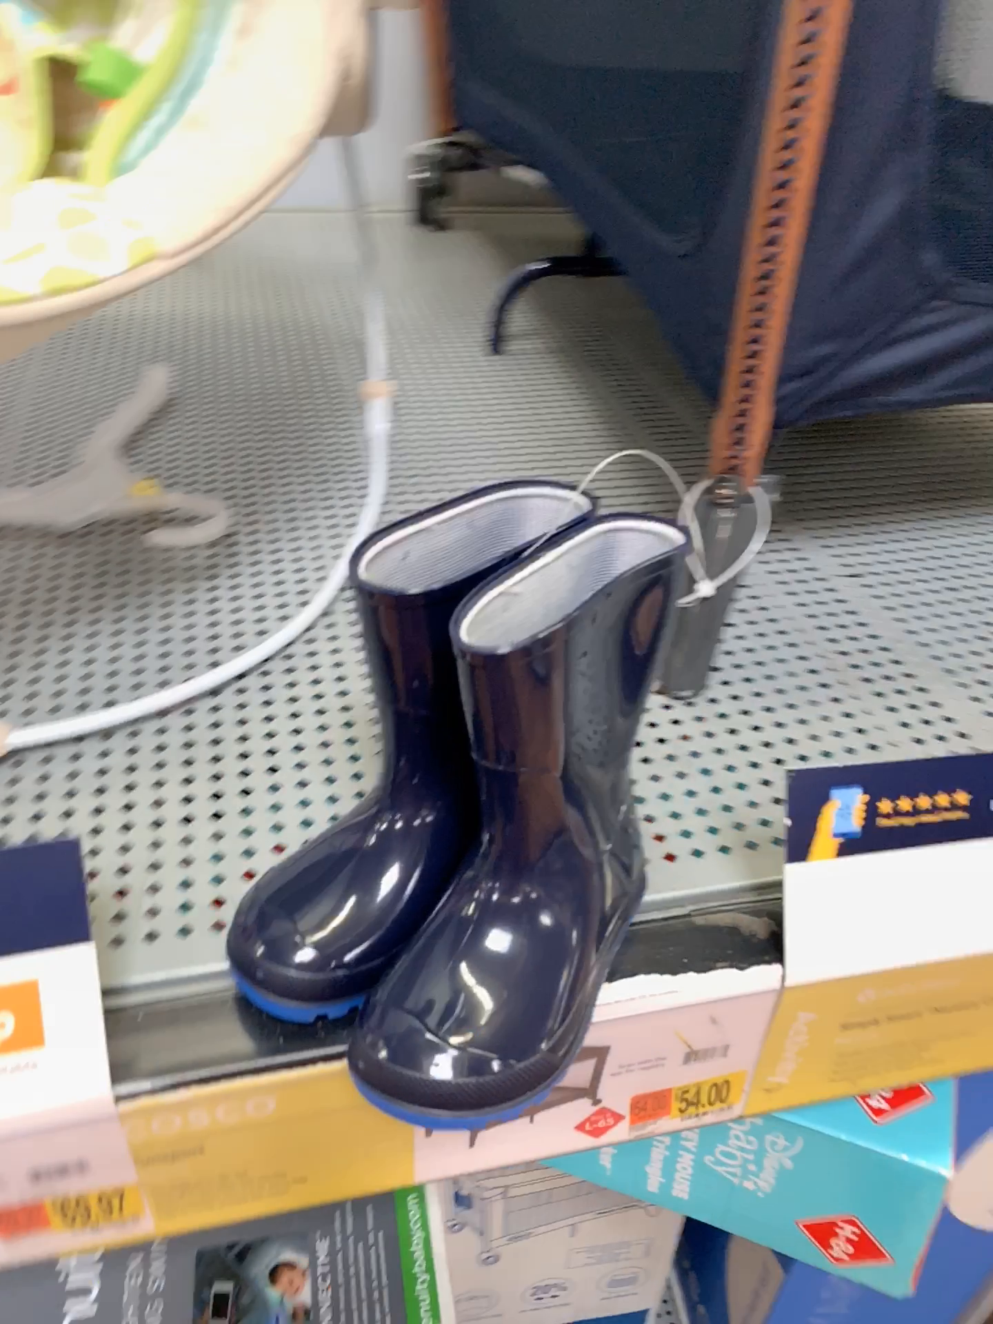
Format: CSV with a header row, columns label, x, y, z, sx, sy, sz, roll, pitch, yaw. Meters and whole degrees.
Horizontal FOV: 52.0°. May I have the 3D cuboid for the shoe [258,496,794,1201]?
label,x,y,z,sx,sy,sz,roll,pitch,yaw
shoe,0.019,0.049,0.341,0.076,0.143,0.174,21,39,28

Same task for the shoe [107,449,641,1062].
label,x,y,z,sx,sy,sz,roll,pitch,yaw
shoe,-0.032,0.023,0.375,0.074,0.143,0.174,25,40,32
